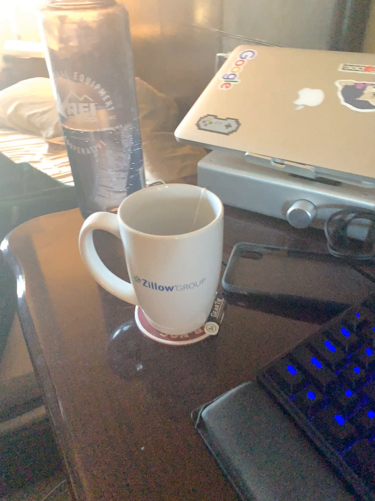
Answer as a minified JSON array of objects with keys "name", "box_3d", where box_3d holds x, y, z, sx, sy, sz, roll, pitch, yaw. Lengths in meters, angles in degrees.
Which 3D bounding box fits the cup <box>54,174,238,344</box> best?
[{"name":"cup","box_3d":[-0.032,0.005,0.343,0.130,0.099,0.101,-5,37,-3]}]
